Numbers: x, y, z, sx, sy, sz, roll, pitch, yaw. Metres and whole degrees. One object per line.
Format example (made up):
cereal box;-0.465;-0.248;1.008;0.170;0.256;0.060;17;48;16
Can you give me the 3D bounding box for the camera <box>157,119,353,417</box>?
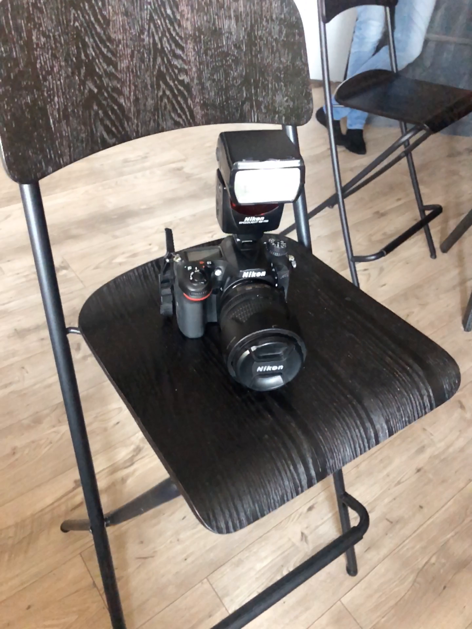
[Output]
camera;0.005;-0.043;0.503;0.125;0.217;0.168;-8;45;-10
